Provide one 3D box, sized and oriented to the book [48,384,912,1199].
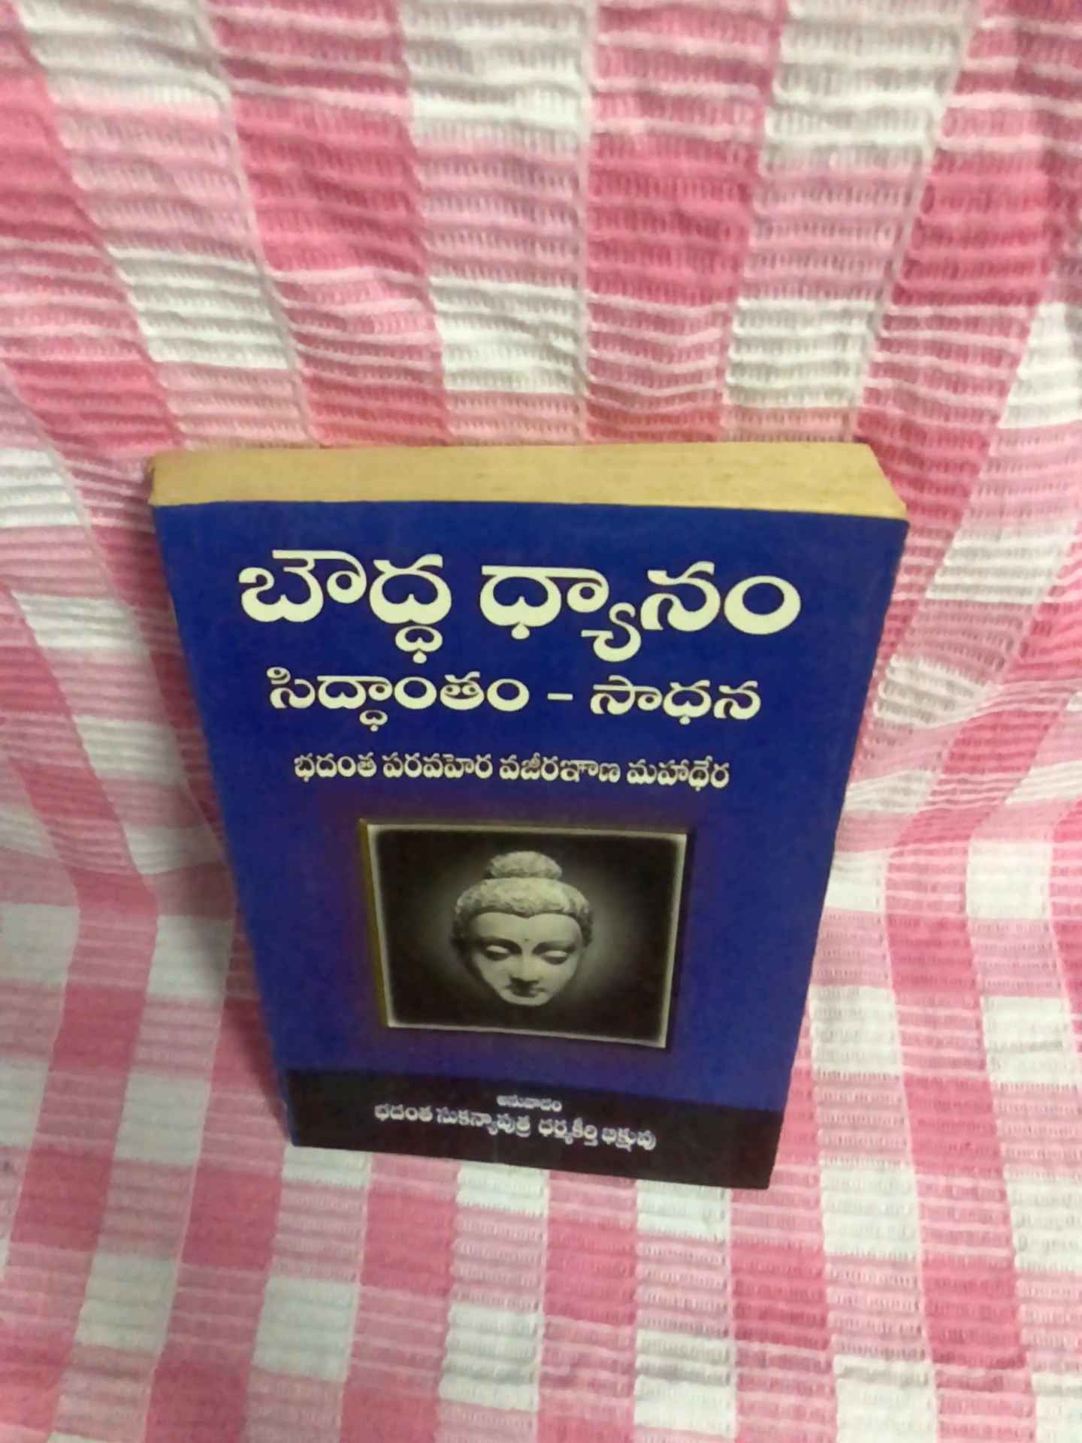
[{"bbox_3d":[-0.012,0.035,0.301,0.160,0.229,0.030,4,37,5],"label":"book"}]
